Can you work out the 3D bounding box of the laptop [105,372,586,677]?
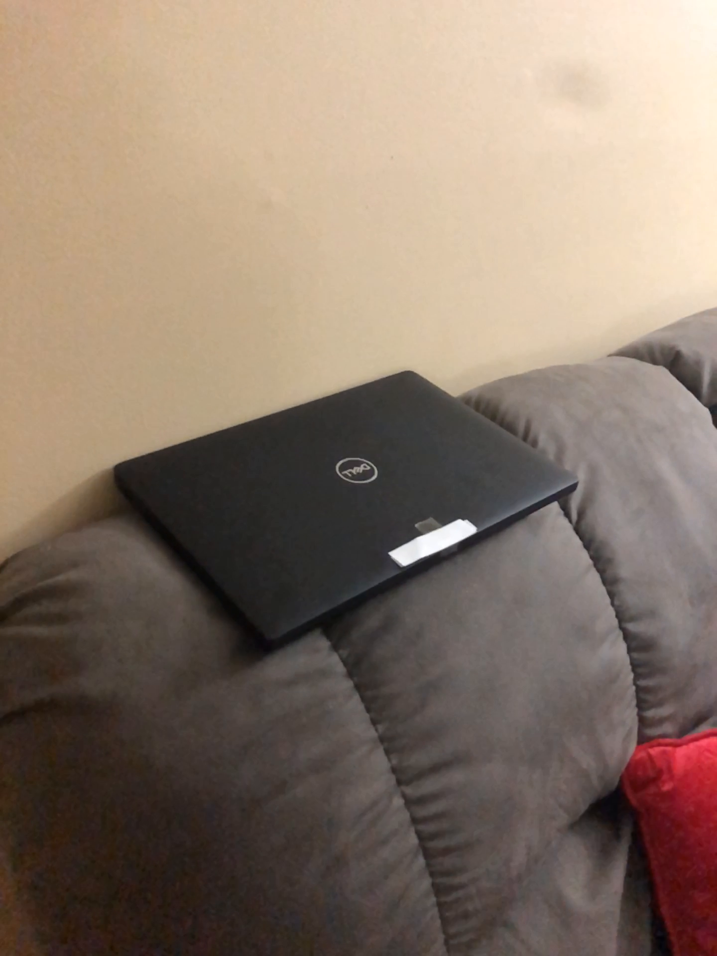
[{"bbox_3d":[-0.002,0.011,0.654,0.326,0.030,0.214,-22,46,-34],"label":"laptop"}]
